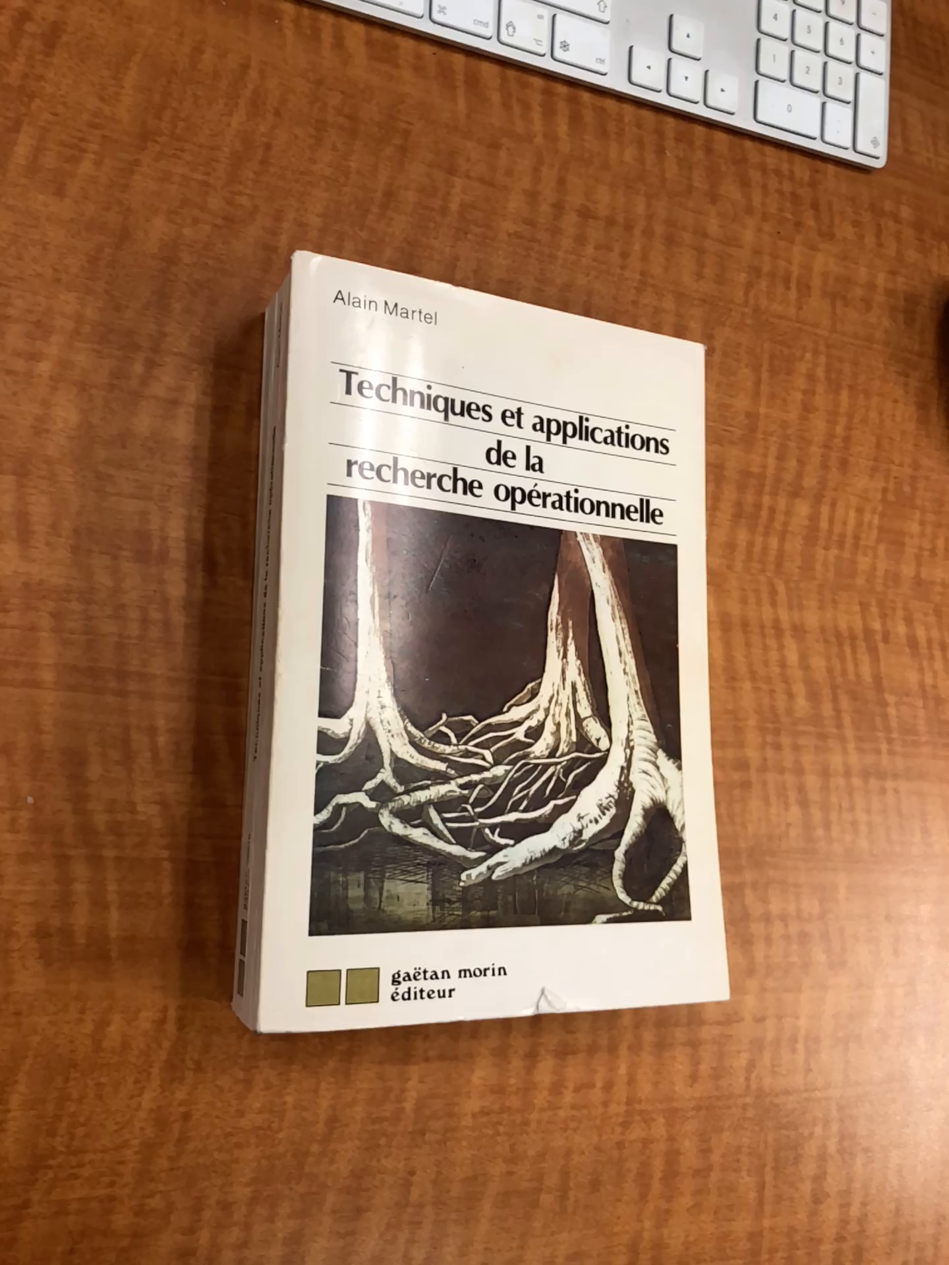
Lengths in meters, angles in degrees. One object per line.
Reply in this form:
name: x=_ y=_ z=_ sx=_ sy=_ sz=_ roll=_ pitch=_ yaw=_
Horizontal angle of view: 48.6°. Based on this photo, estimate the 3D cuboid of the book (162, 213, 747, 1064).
book: x=-0.004 y=0.005 z=0.348 sx=0.170 sy=0.070 sz=0.230 roll=4 pitch=81 yaw=-24
